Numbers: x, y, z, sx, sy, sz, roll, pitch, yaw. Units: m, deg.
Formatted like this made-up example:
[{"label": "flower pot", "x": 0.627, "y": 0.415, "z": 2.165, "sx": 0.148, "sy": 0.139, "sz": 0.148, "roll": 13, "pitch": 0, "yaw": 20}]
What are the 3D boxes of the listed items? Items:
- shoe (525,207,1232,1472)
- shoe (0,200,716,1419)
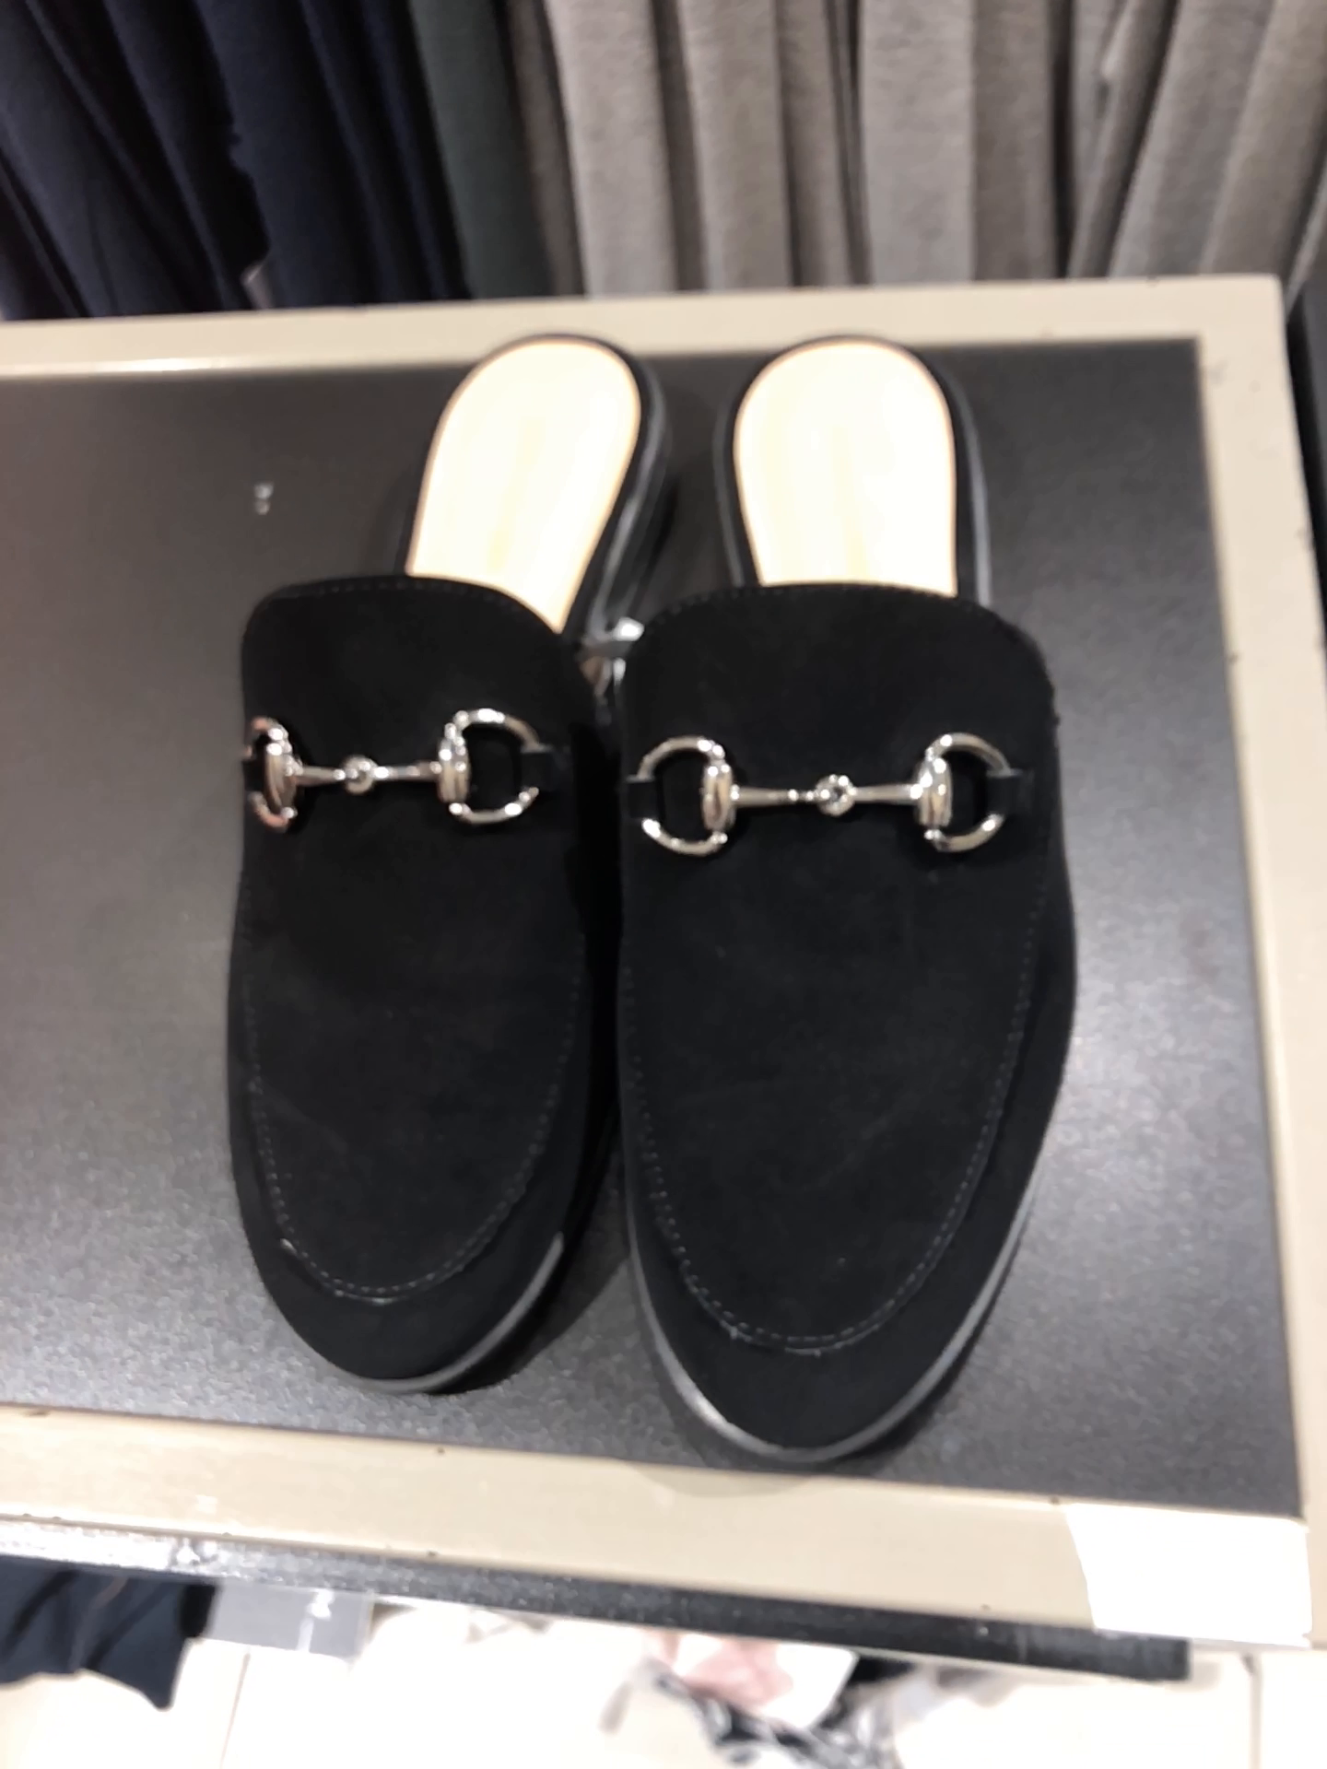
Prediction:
[{"label": "shoe", "x": 0.036, "y": -0.016, "z": 0.274, "sx": 0.090, "sy": 0.070, "sz": 0.221, "roll": -1, "pitch": 62, "yaw": 8}, {"label": "shoe", "x": -0.046, "y": -0.017, "z": 0.294, "sx": 0.090, "sy": 0.080, "sz": 0.221, "roll": 1, "pitch": 68, "yaw": 9}]
